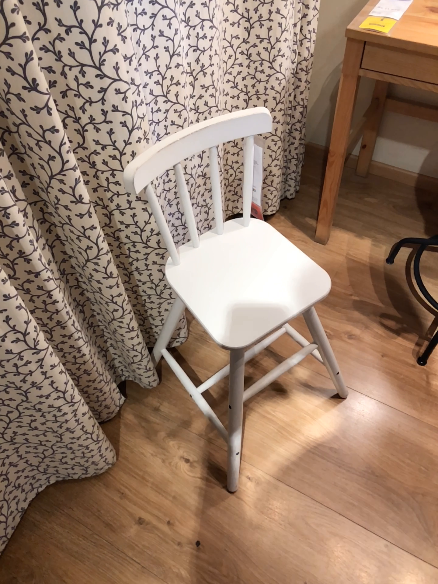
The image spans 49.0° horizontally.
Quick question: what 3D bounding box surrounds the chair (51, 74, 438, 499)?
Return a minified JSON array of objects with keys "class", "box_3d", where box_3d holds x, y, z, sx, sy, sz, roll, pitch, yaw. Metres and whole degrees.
[{"class":"chair","box_3d":[0.042,0.029,1.041,0.421,0.706,0.452,-34,58,-20]}]
